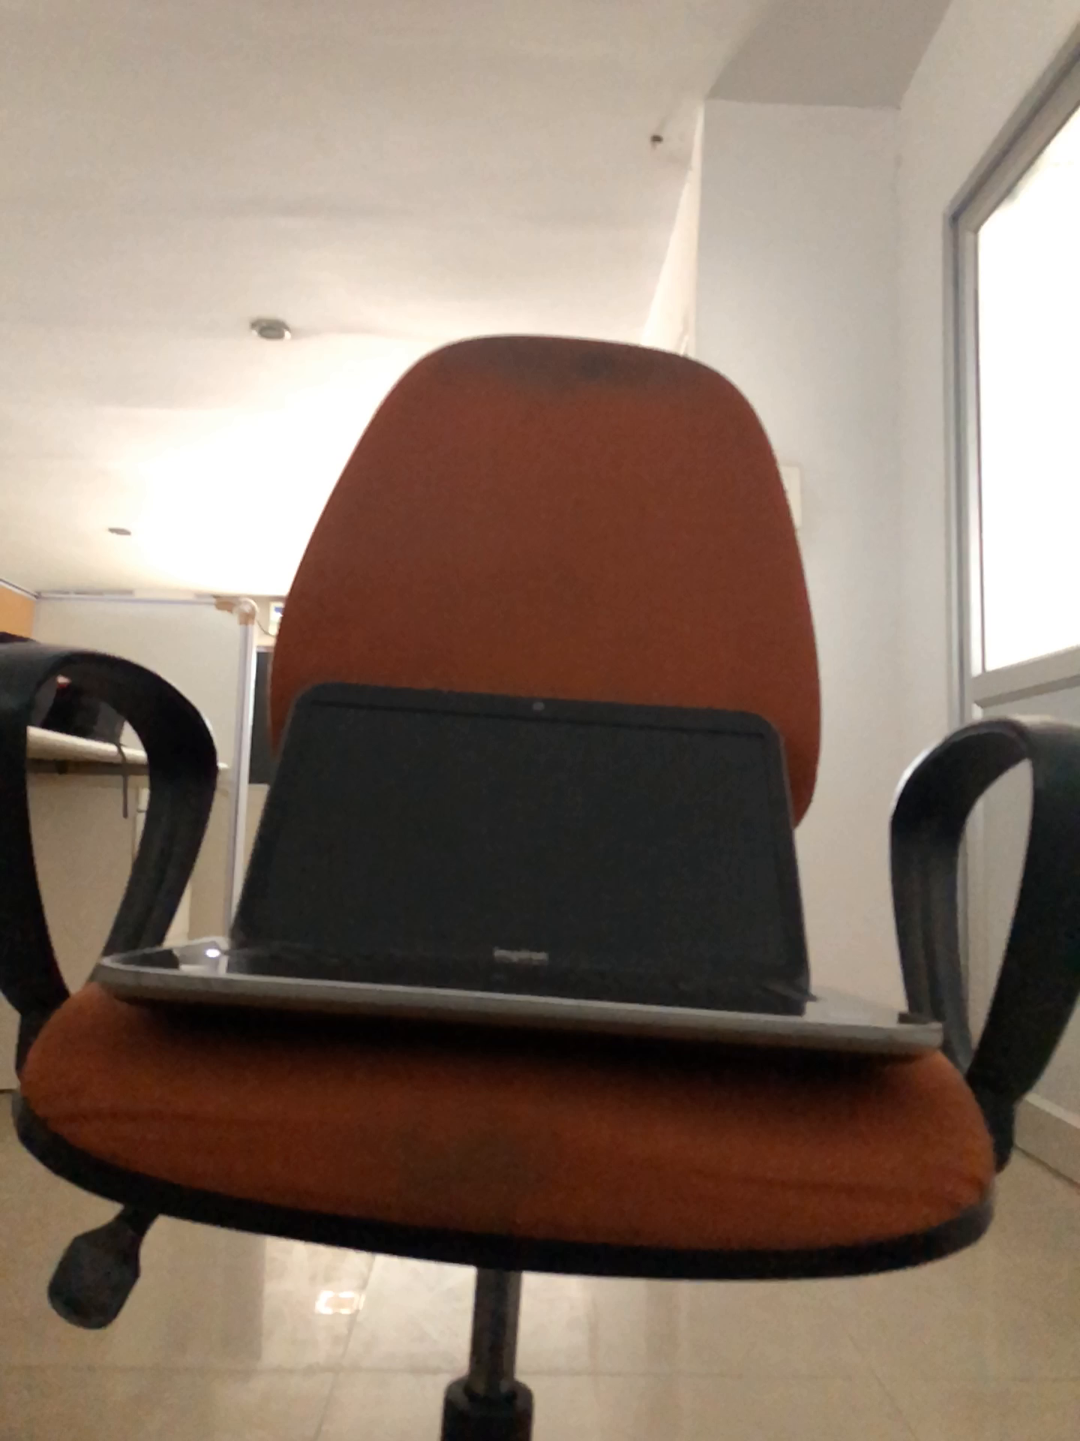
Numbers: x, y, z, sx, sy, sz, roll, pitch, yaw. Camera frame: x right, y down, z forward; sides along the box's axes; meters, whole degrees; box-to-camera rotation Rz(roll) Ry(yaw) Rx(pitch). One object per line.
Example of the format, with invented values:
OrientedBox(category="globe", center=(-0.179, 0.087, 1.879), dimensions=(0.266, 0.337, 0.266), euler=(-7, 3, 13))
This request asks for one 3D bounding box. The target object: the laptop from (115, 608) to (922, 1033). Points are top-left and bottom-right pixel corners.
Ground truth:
OrientedBox(category="laptop", center=(-0.011, 0.054, 0.695), dimensions=(0.352, 0.174, 0.350), euler=(2, -5, 2))
